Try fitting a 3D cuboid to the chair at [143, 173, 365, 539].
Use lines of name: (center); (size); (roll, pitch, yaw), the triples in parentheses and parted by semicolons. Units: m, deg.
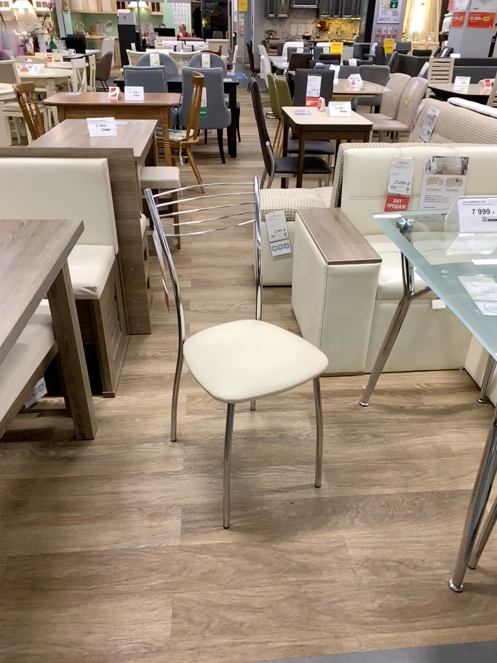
chair: (-0.015, 0.070, 1.599); (0.414, 0.967, 0.482); (-14, 34, -25)
